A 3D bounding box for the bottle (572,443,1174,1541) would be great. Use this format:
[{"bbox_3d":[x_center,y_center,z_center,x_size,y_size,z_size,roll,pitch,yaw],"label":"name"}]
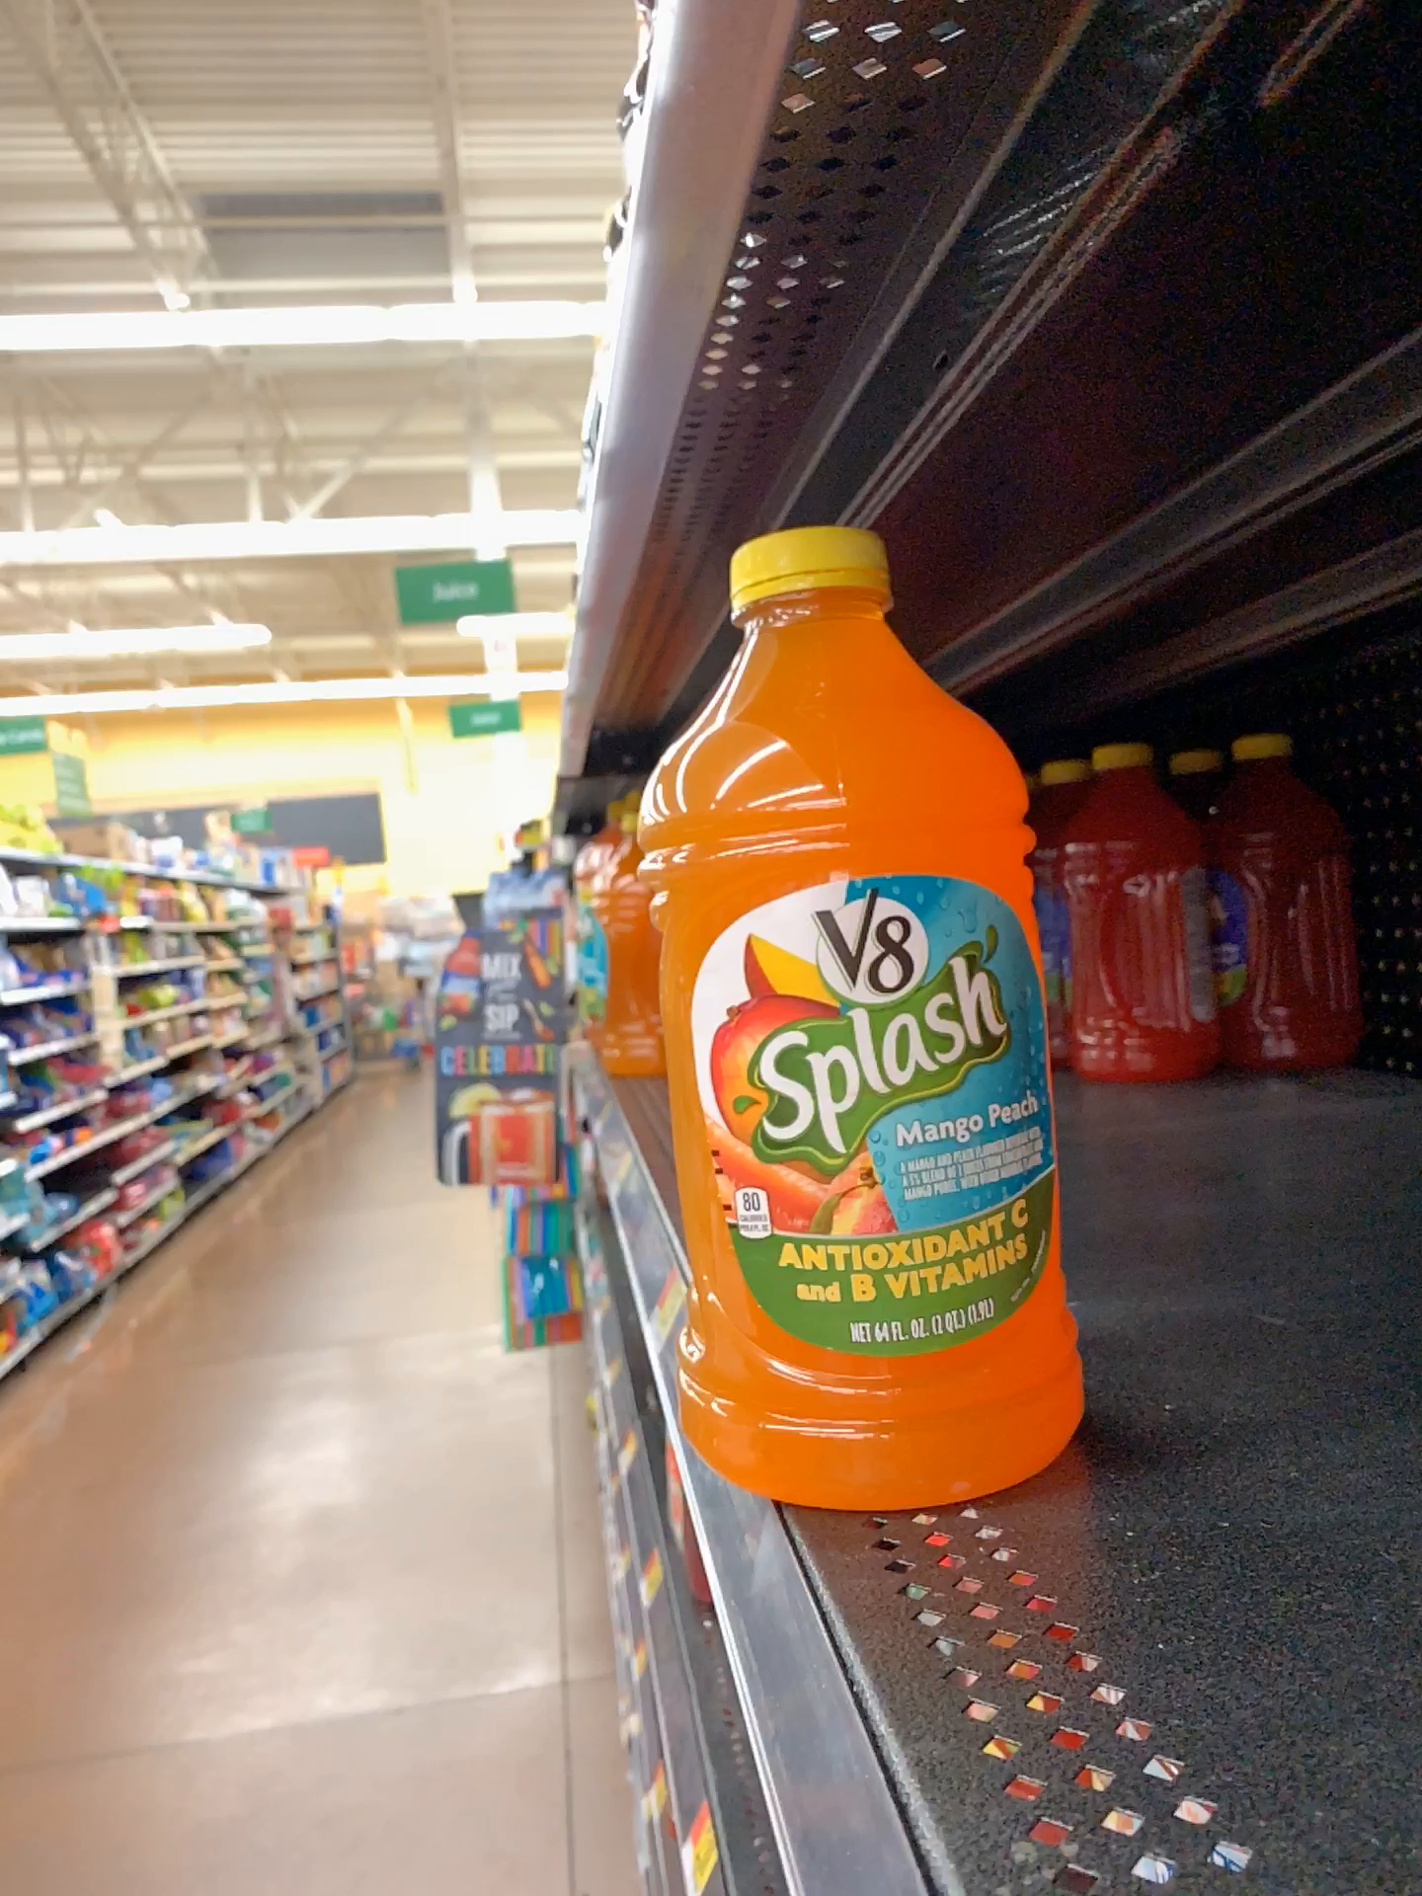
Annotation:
[{"bbox_3d":[0.036,0.008,0.426,0.128,0.260,0.125,-5,1,0],"label":"bottle"}]
